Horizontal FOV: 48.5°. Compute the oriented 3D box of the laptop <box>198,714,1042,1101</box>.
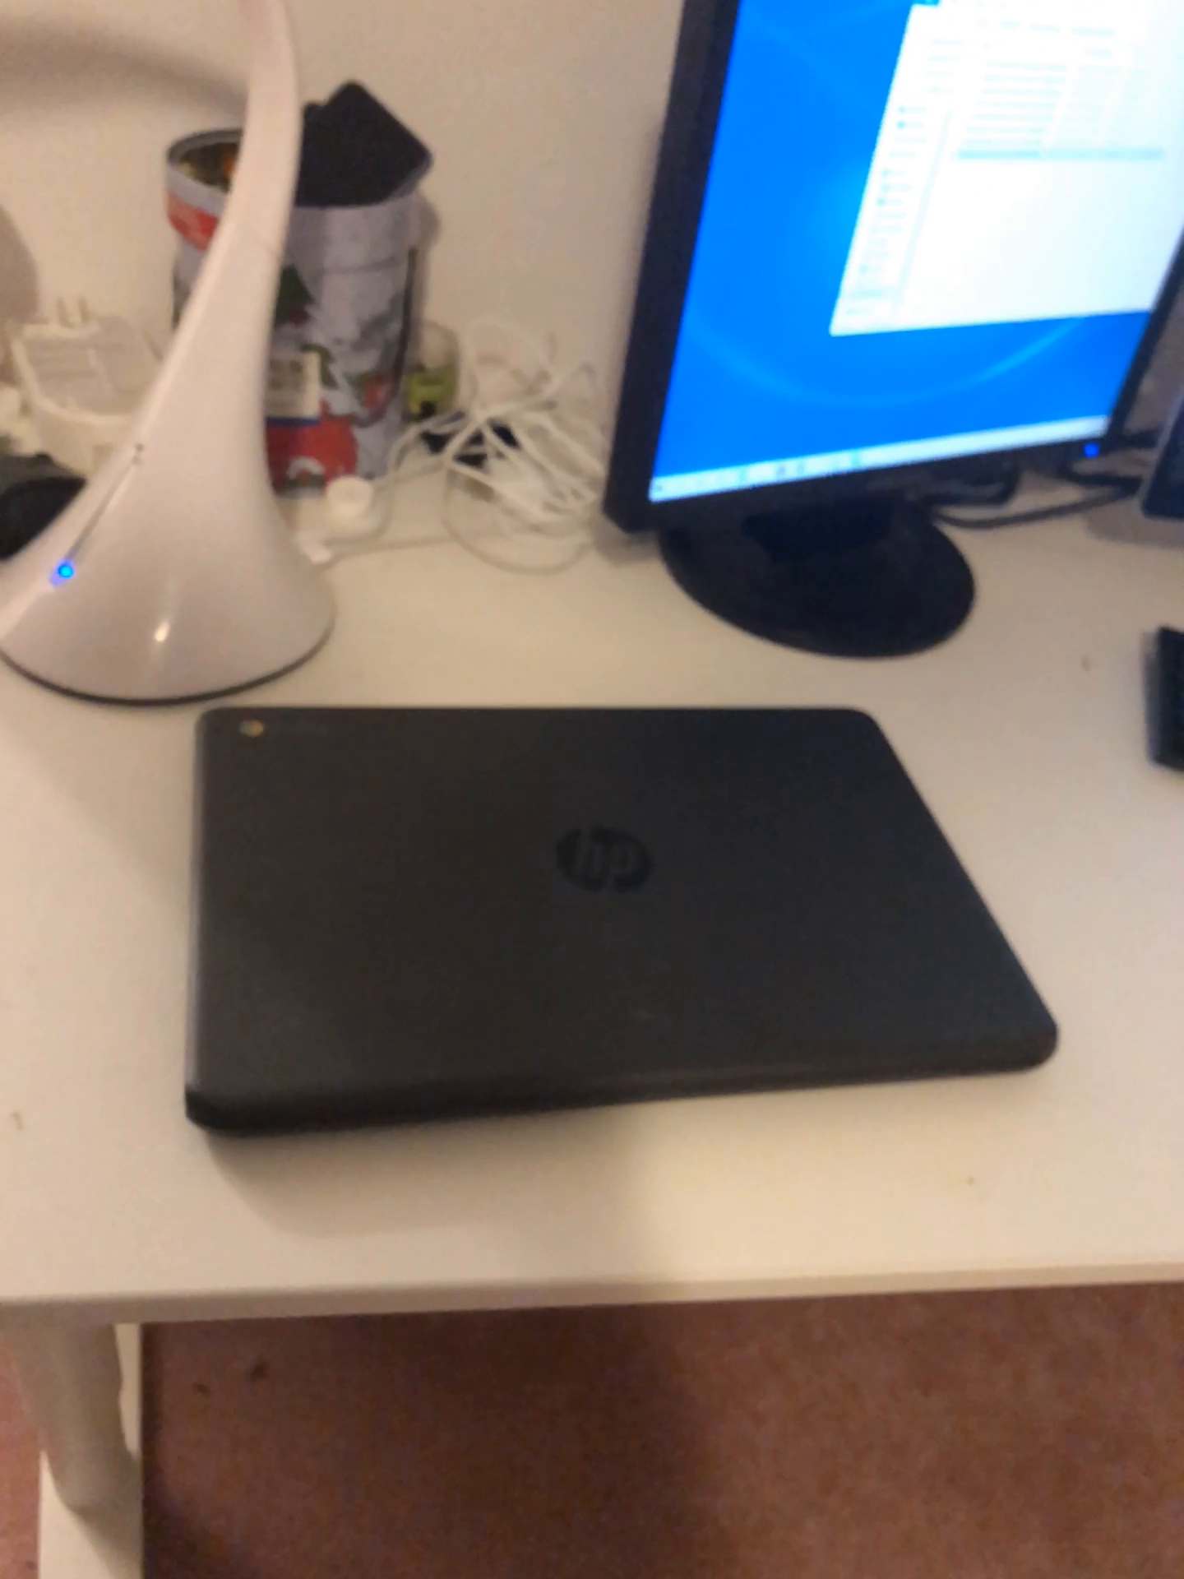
[{"bbox_3d":[0.002,0.033,0.563,0.325,0.001,0.210,-1,42,-15],"label":"laptop"}]
